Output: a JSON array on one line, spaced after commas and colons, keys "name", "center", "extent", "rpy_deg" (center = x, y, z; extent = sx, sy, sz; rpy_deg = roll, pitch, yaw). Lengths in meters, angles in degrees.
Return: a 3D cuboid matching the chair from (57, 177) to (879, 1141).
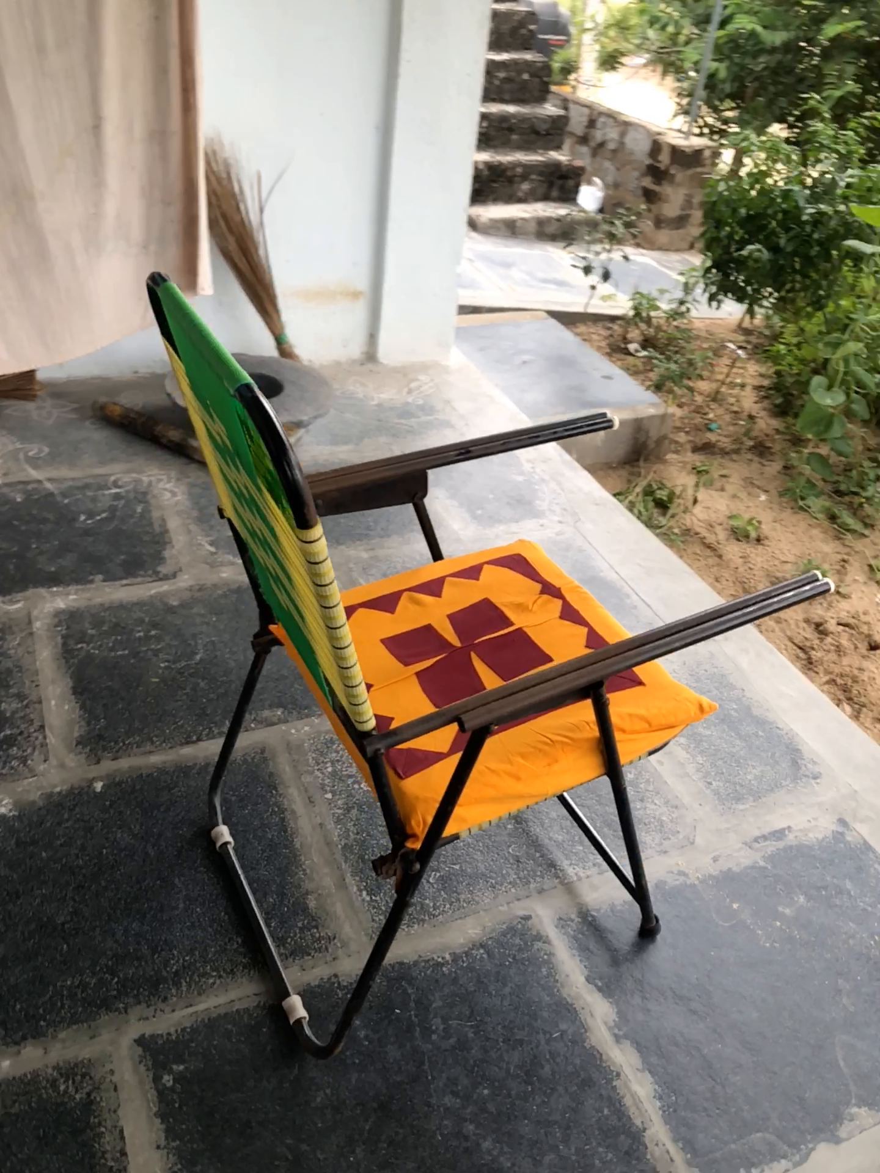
[{"name": "chair", "center": [0.001, 0.020, 1.197], "extent": [0.682, 0.825, 0.662], "rpy_deg": [-13, 40, -26]}]
